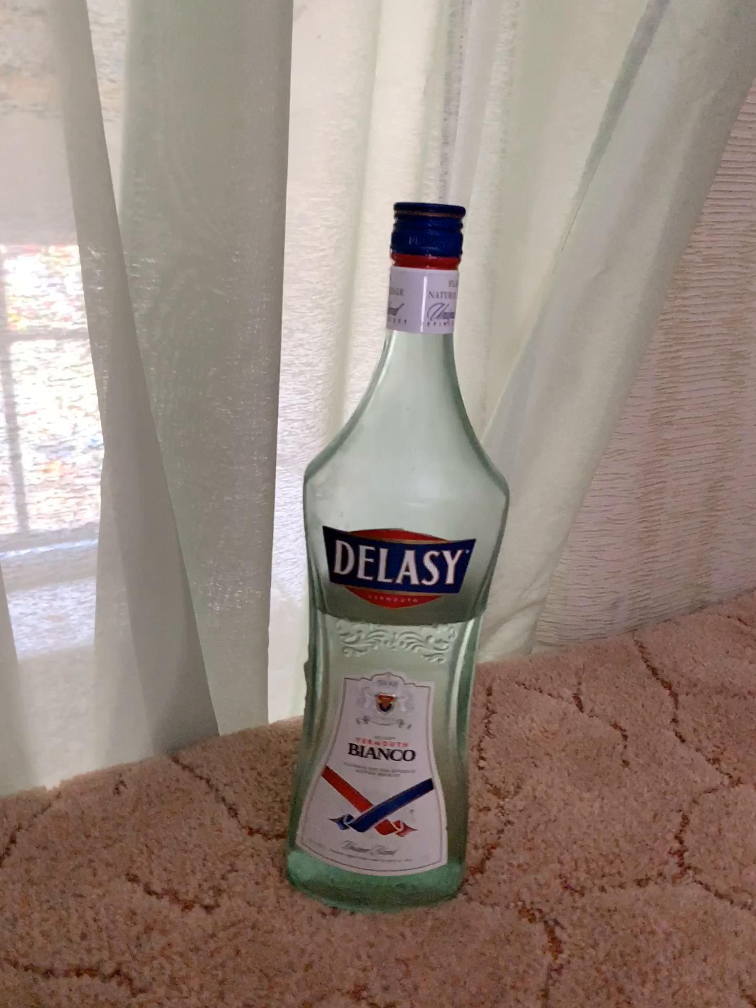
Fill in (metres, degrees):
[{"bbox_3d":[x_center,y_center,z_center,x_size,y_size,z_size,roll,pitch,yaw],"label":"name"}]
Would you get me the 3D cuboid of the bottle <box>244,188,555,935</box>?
[{"bbox_3d":[0.005,0.036,0.353,0.110,0.328,0.060,4,18,6],"label":"bottle"}]
